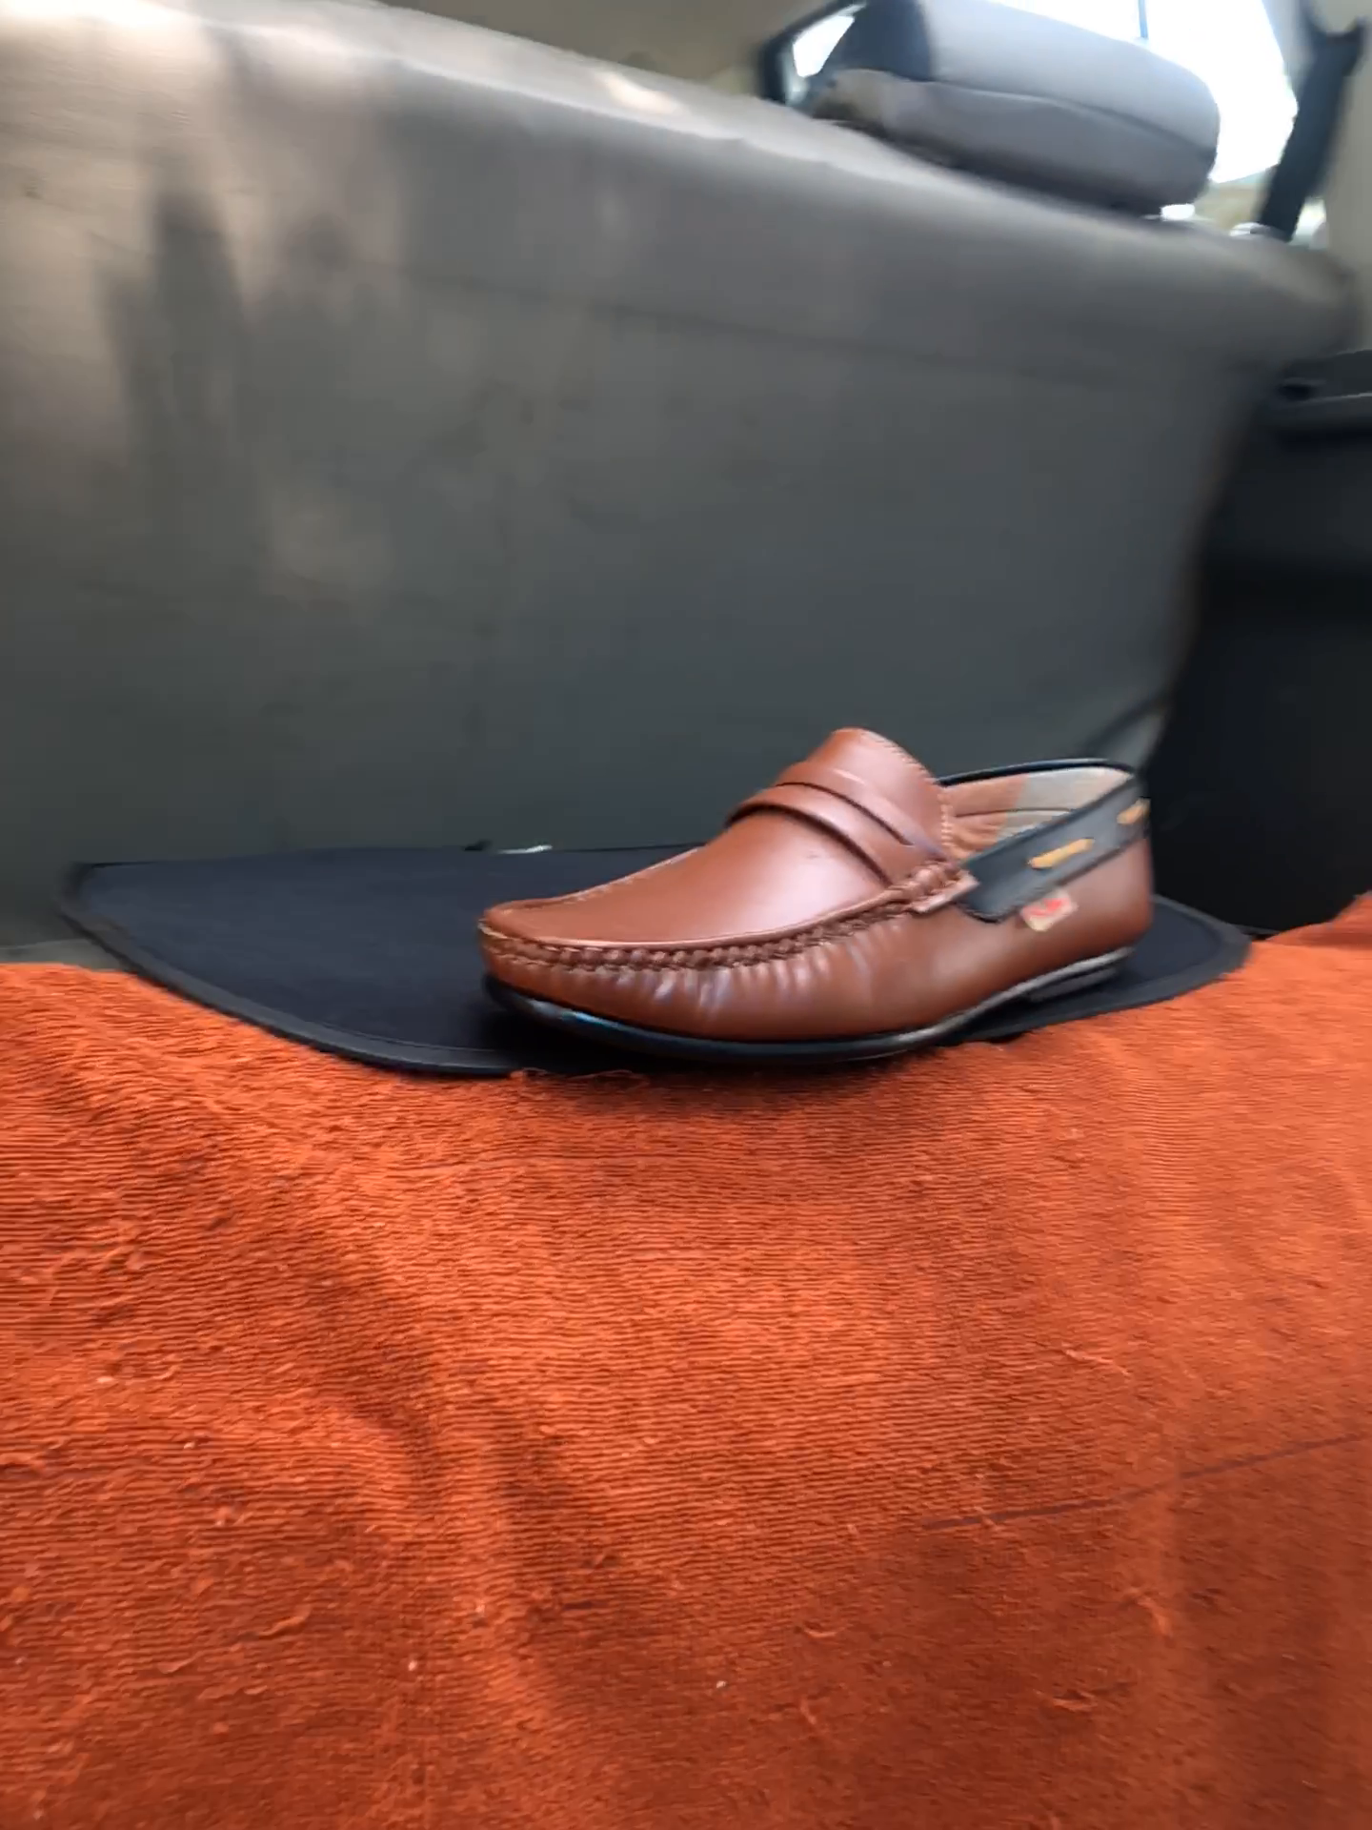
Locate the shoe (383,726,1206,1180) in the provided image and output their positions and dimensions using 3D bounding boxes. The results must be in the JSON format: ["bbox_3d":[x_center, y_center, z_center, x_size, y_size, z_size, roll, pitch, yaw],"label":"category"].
[{"bbox_3d":[0.050,-0.006,0.496,0.110,0.070,0.281,17,22,41],"label":"shoe"}]
